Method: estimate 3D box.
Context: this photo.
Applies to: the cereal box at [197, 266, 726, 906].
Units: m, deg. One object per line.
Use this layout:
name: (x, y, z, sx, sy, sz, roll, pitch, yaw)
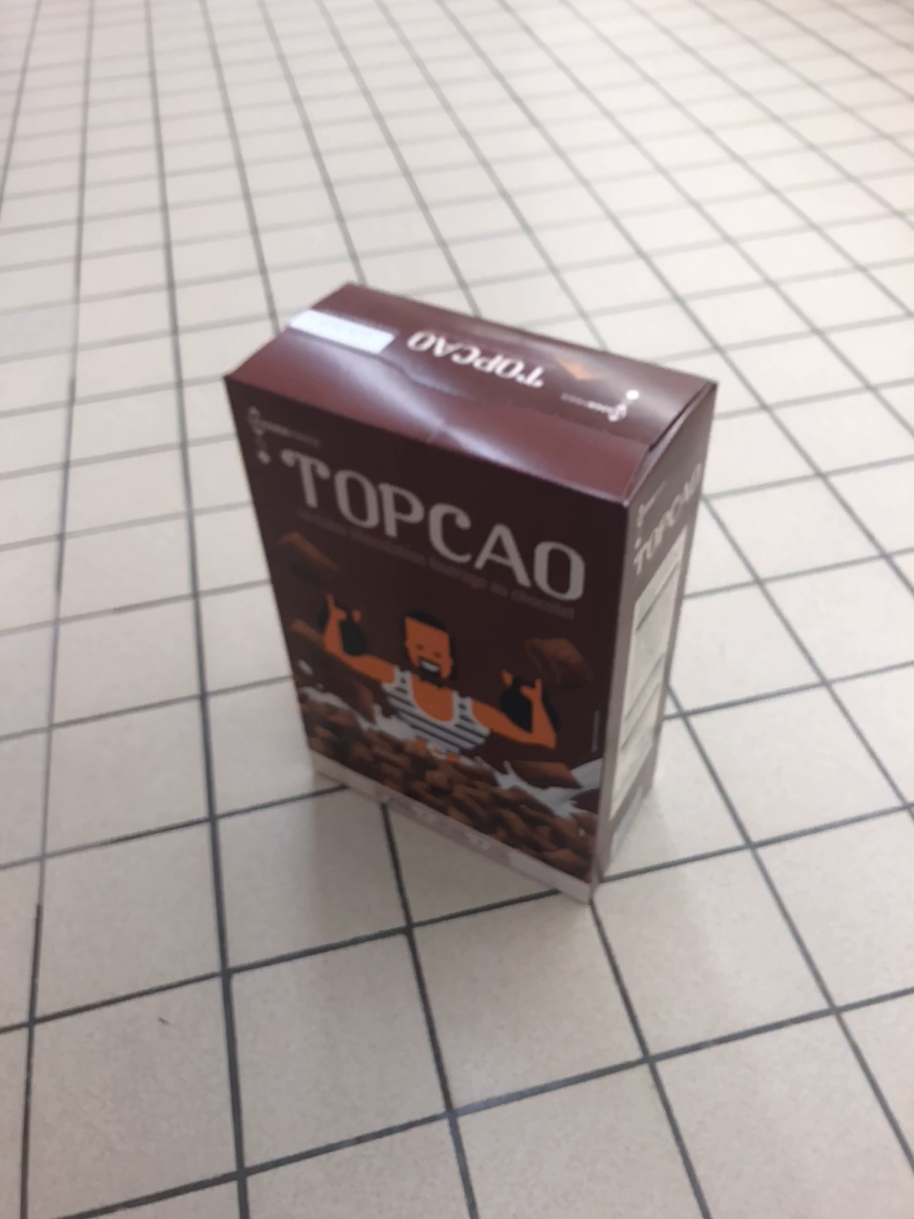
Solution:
cereal box: (0.005, -0.001, 0.533, 0.200, 0.288, 0.101, 22, 51, 22)
